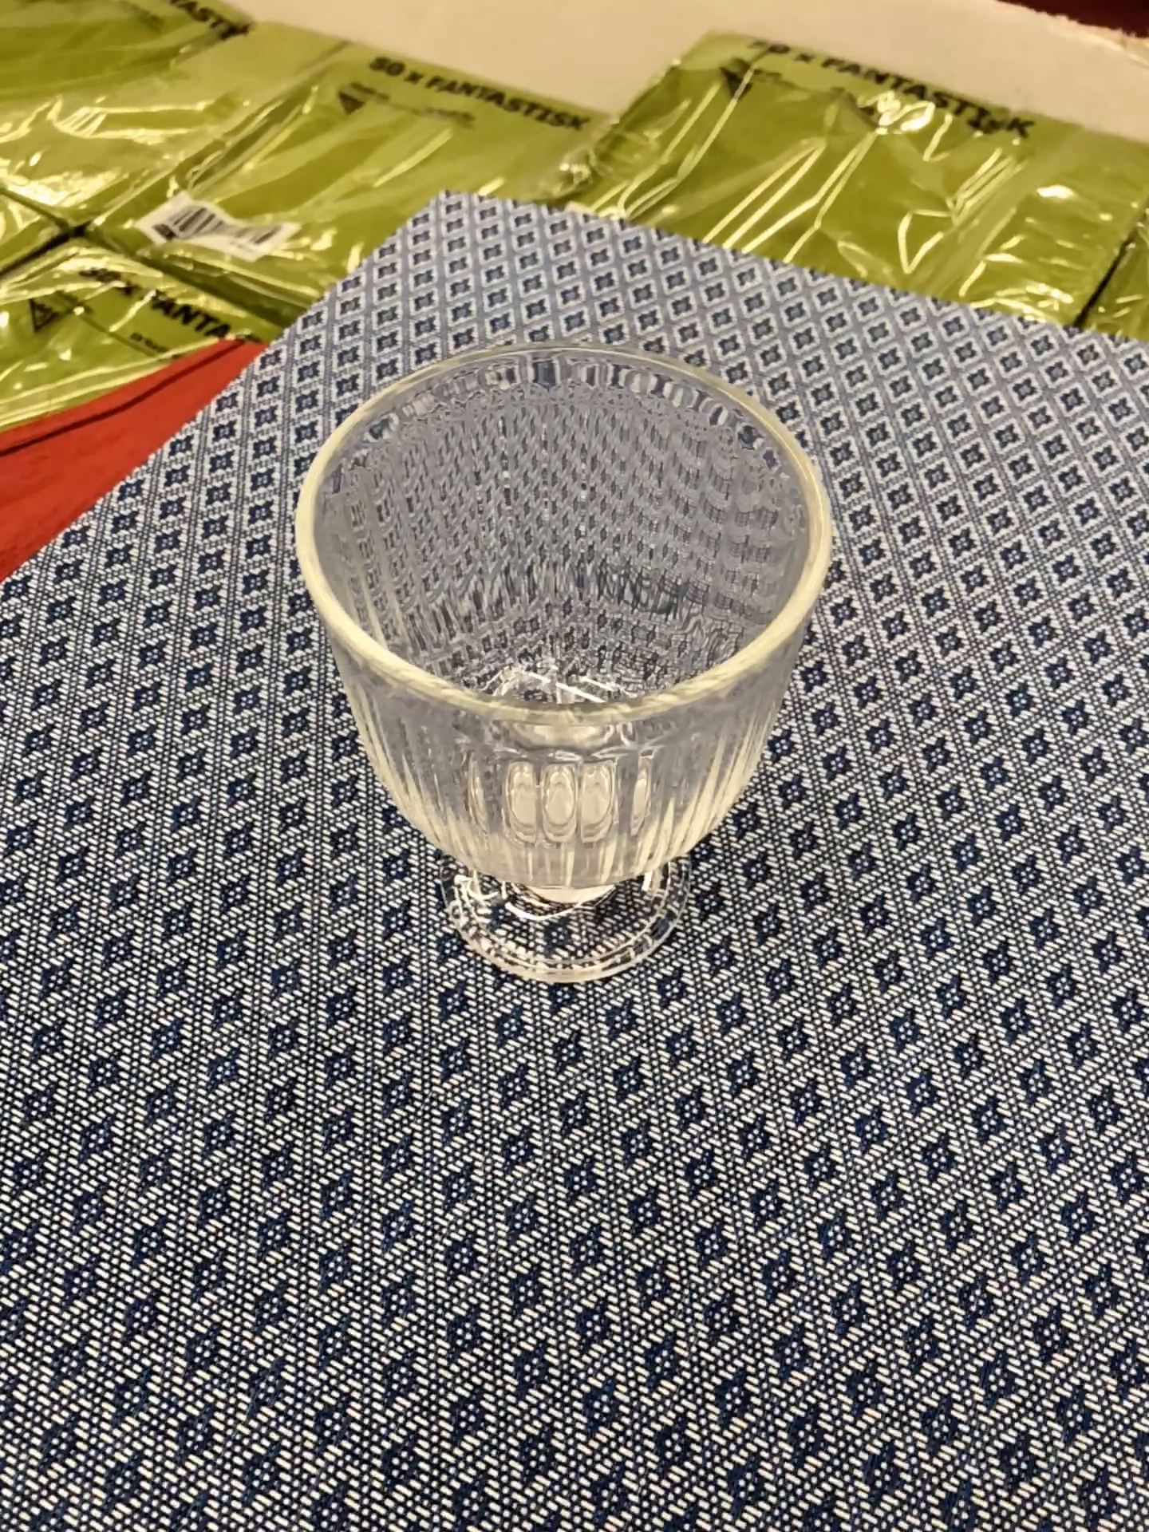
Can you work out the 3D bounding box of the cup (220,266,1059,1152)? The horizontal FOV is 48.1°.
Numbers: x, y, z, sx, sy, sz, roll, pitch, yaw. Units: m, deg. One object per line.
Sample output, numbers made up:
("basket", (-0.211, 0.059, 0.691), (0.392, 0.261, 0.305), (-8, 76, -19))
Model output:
("cup", (0.011, -0.011, 0.260), (0.100, 0.110, 0.100), (0, 52, 0))
